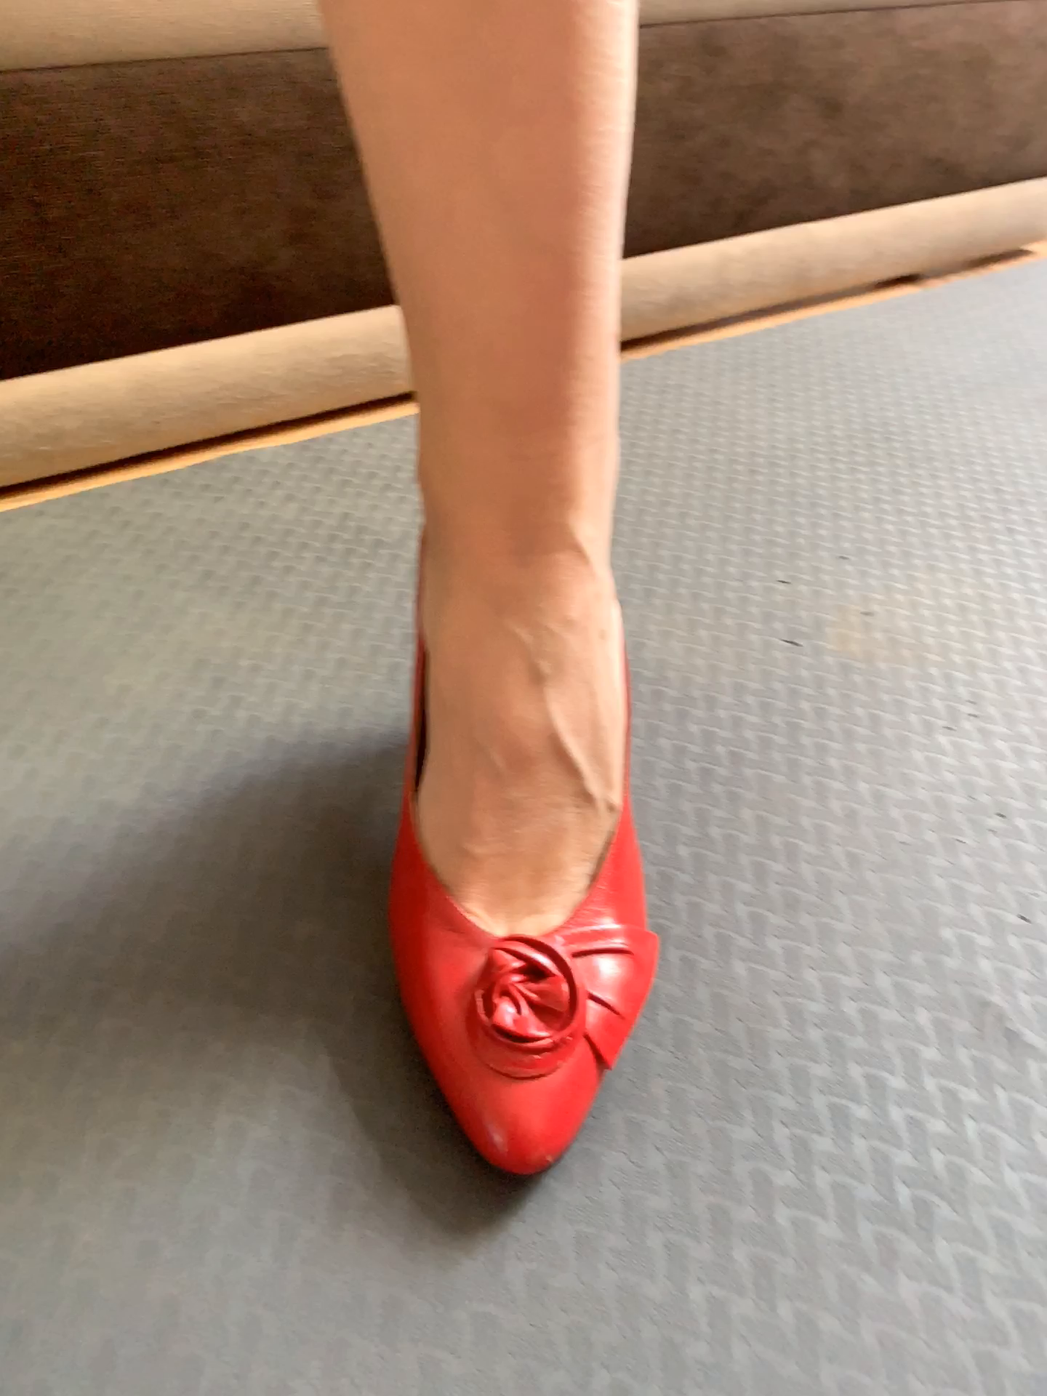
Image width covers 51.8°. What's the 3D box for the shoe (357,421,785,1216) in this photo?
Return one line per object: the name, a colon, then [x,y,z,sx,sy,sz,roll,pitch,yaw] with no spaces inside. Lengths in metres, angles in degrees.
shoe: [-0.003,0.016,0.315,0.080,0.109,0.211,-2,39,-6]
